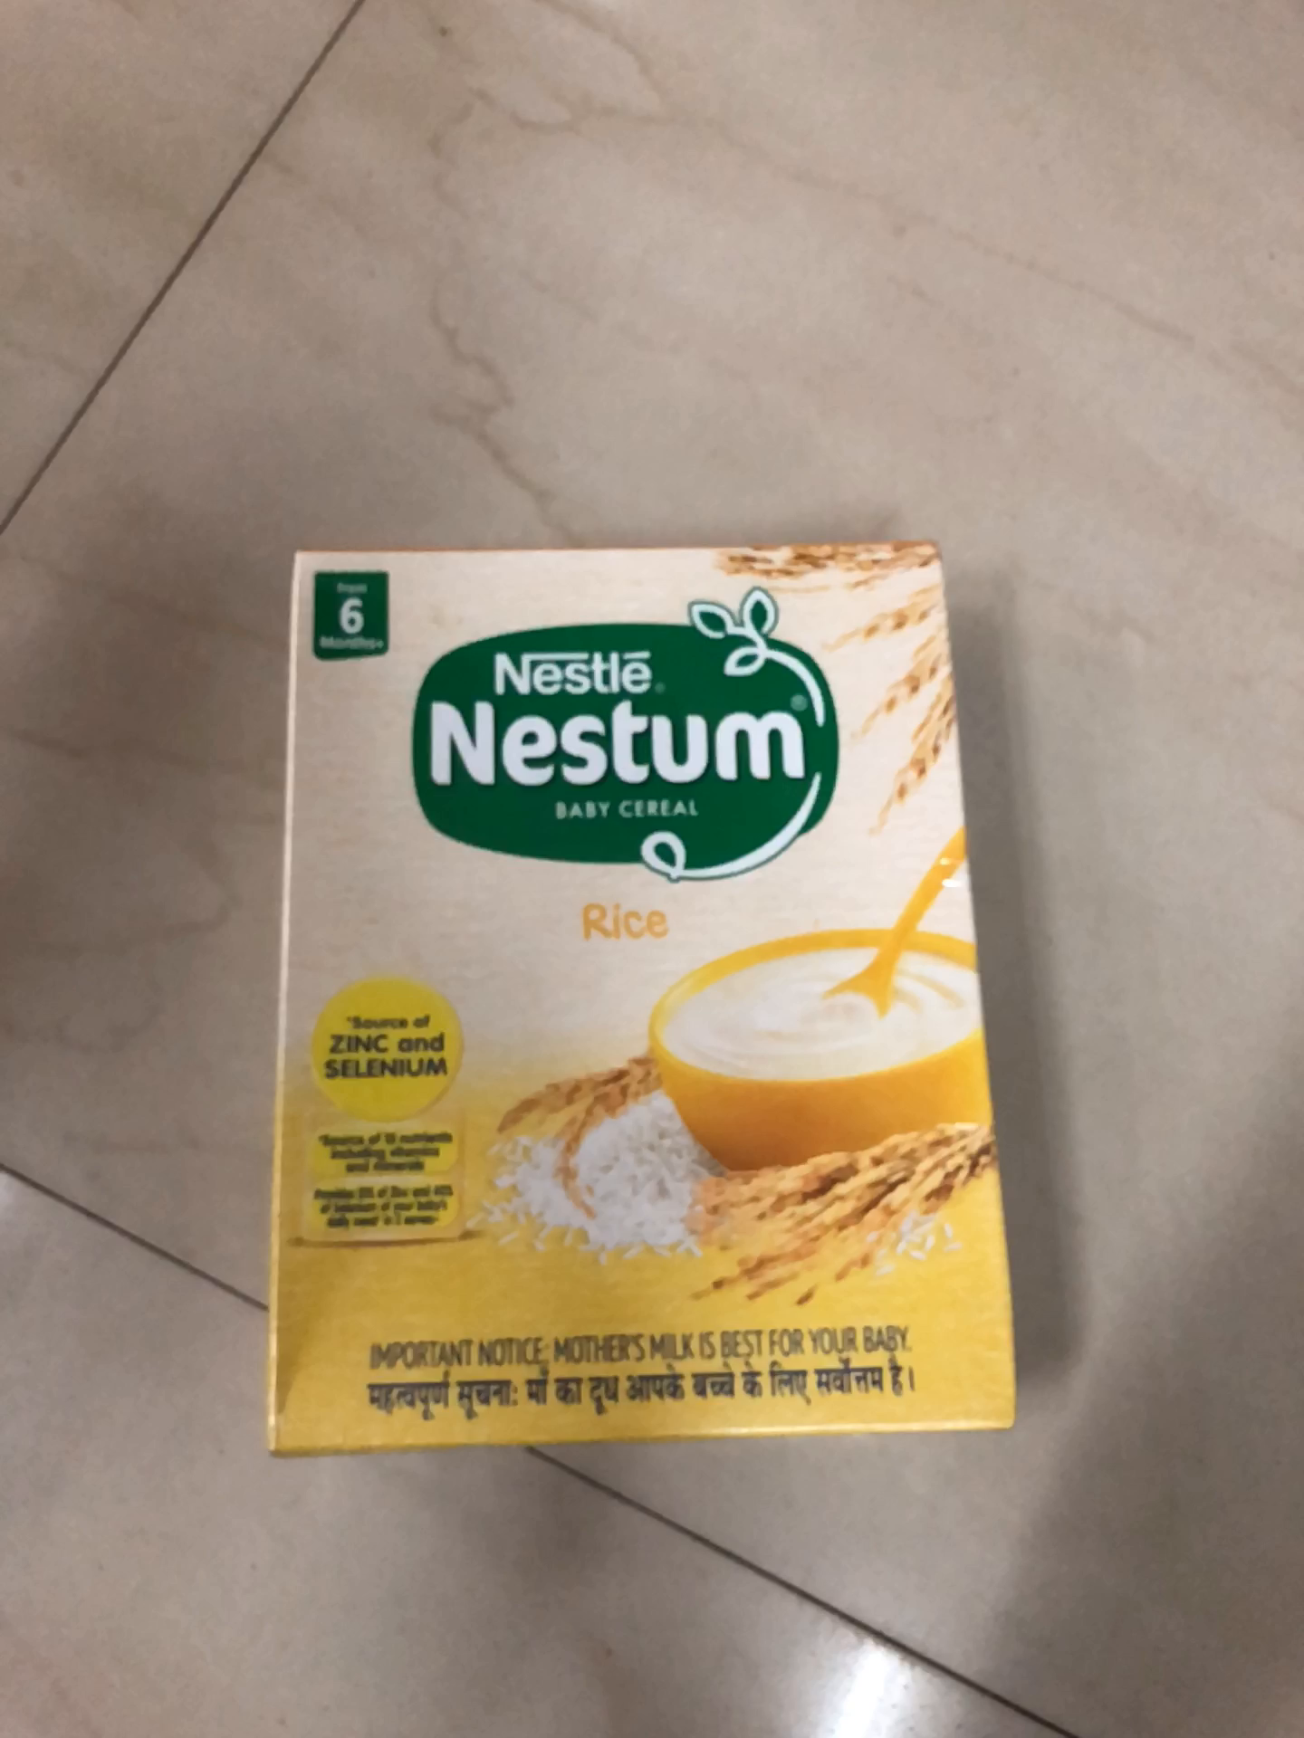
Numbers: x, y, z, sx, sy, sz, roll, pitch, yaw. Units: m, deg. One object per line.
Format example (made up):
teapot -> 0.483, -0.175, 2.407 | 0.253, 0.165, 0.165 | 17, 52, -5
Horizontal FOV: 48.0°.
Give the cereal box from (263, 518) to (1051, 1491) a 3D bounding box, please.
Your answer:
cereal box -> -0.001, 0.027, 0.332 | 0.150, 0.060, 0.200 | -1, 76, -1
